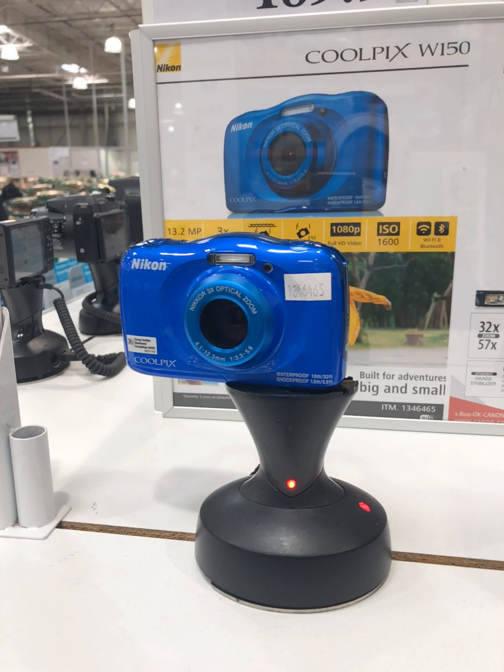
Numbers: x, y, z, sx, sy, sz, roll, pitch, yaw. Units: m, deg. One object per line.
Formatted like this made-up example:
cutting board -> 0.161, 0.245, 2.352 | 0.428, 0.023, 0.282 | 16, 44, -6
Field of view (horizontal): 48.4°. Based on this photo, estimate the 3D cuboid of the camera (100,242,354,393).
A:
camera -> -0.010, -0.012, 0.265 | 0.110, 0.060, 0.040 | 2, 15, 13
